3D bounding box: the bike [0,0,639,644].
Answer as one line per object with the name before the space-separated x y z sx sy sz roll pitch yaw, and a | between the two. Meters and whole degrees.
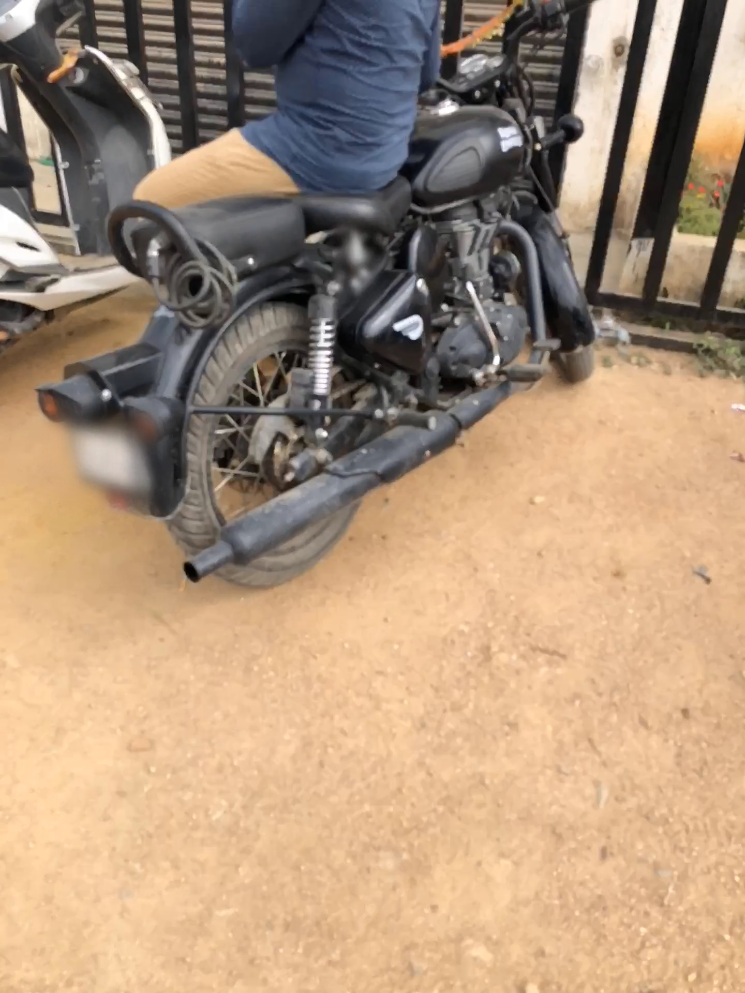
bike | 0.014 -0.857 2.112 0.722 1.169 1.818 18 40 22
